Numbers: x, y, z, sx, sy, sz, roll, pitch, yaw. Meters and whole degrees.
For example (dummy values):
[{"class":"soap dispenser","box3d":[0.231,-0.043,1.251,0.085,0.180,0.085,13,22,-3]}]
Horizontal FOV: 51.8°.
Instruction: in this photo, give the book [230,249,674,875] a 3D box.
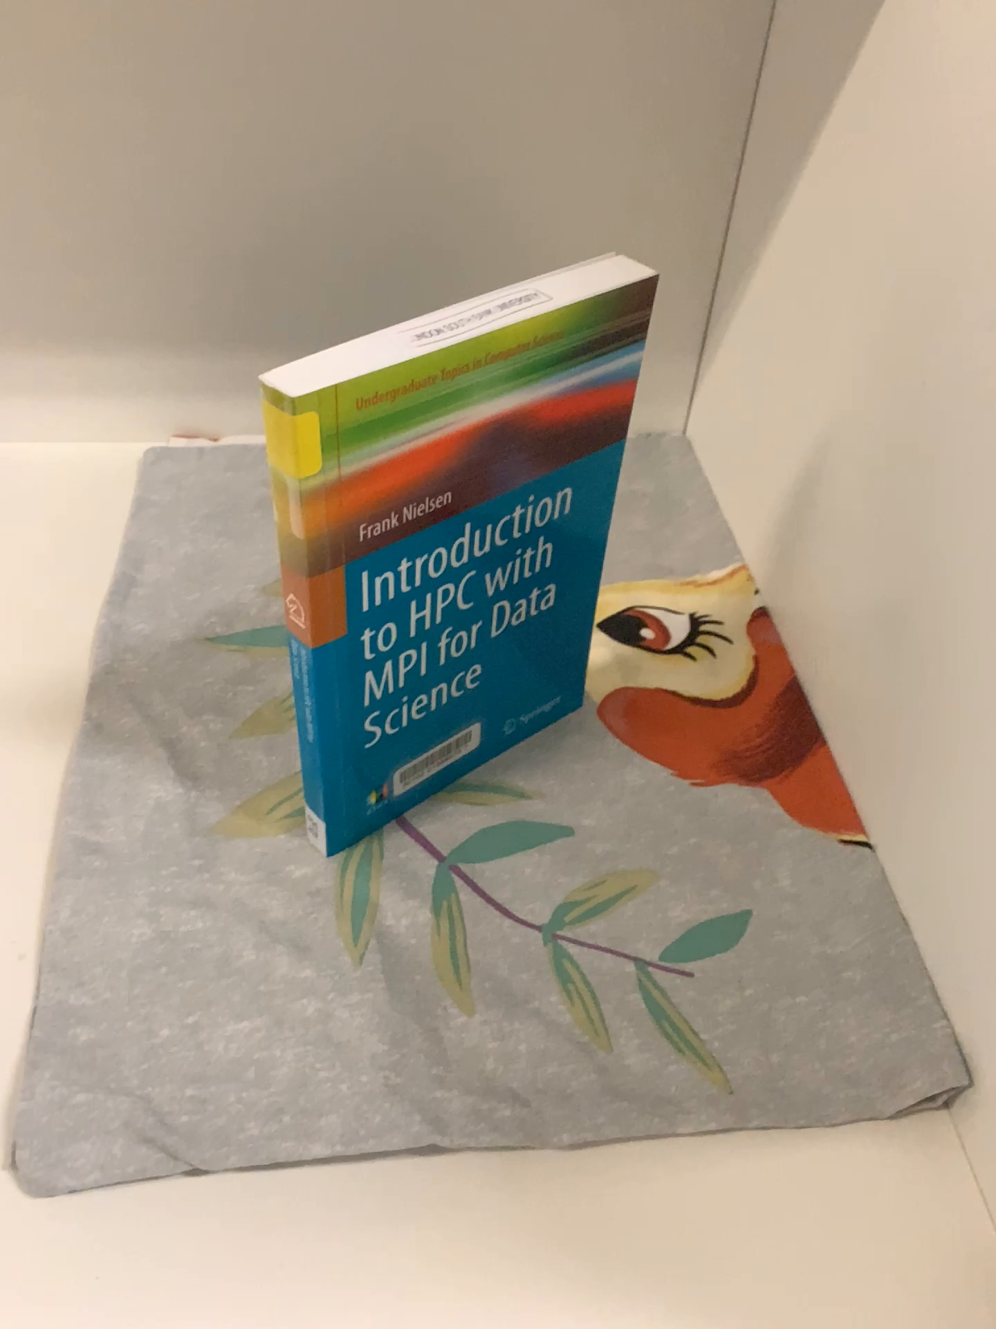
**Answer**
[{"class":"book","box3d":[-0.016,-0.034,0.424,0.171,0.228,0.030,-30,55,-31]}]

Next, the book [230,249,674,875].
[{"class":"book","box3d":[-0.016,-0.034,0.424,0.171,0.228,0.030,-30,55,-31]}]
